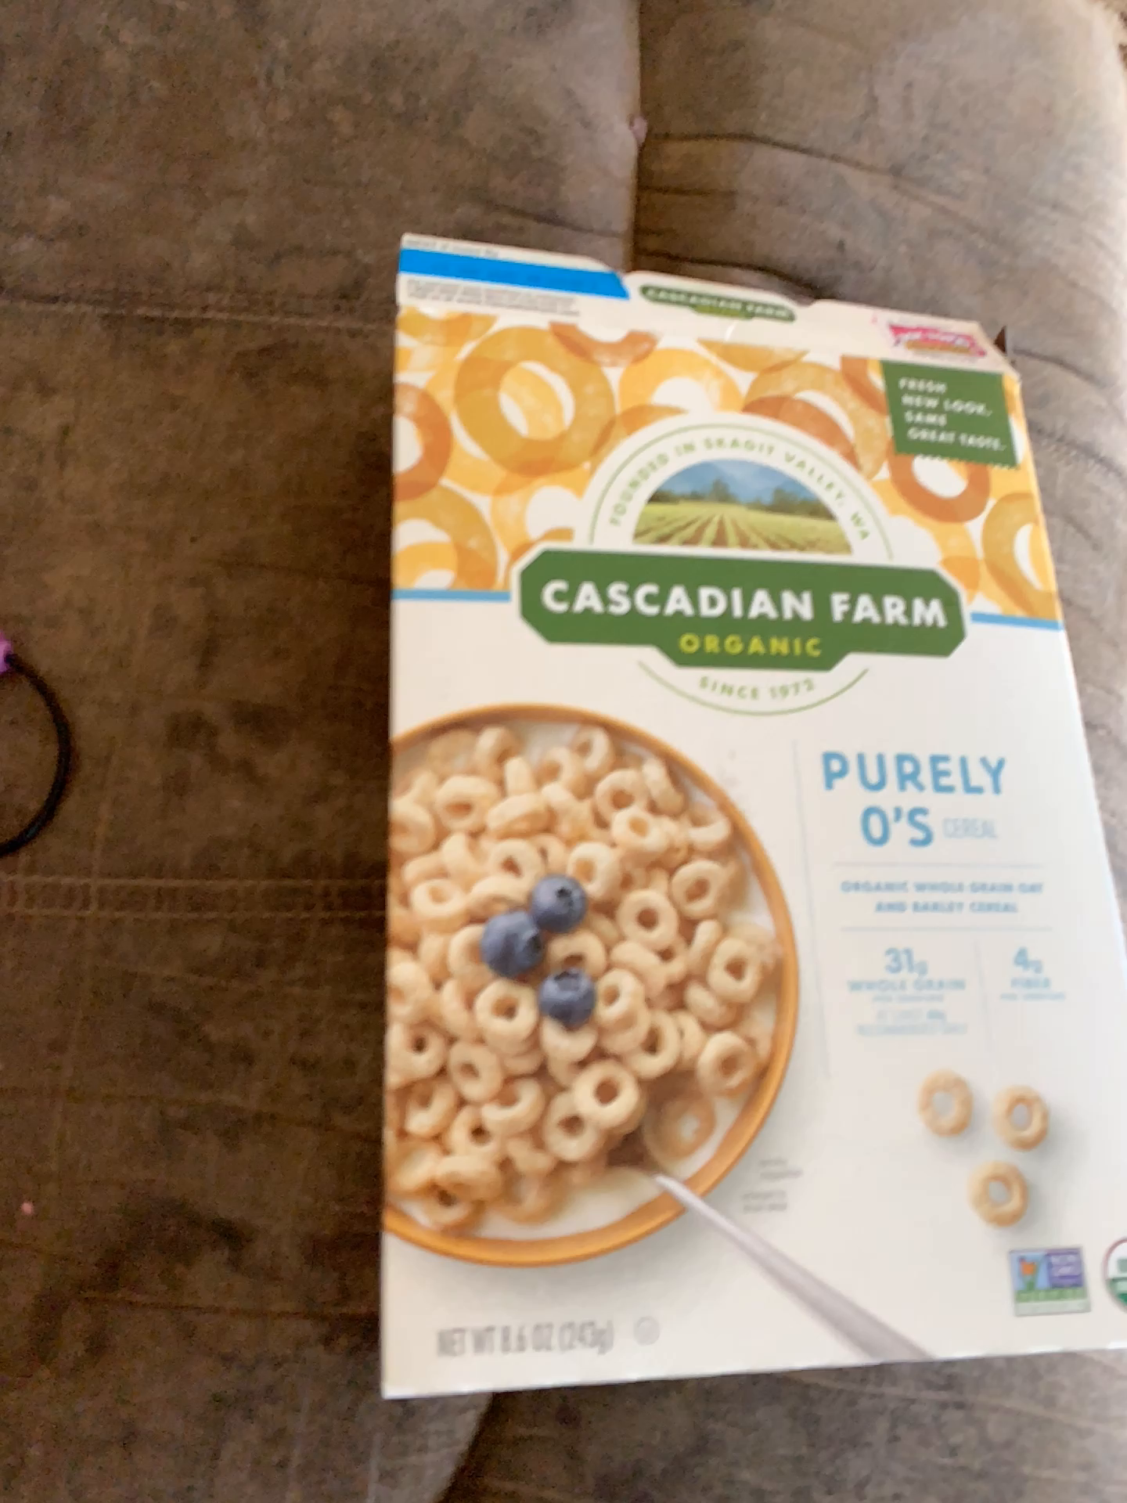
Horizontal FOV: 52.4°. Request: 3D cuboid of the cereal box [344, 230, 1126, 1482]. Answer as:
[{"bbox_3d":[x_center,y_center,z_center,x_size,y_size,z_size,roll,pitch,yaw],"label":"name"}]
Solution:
[{"bbox_3d":[0.049,0.011,0.298,0.200,0.070,0.280,2,68,-11],"label":"cereal box"}]
